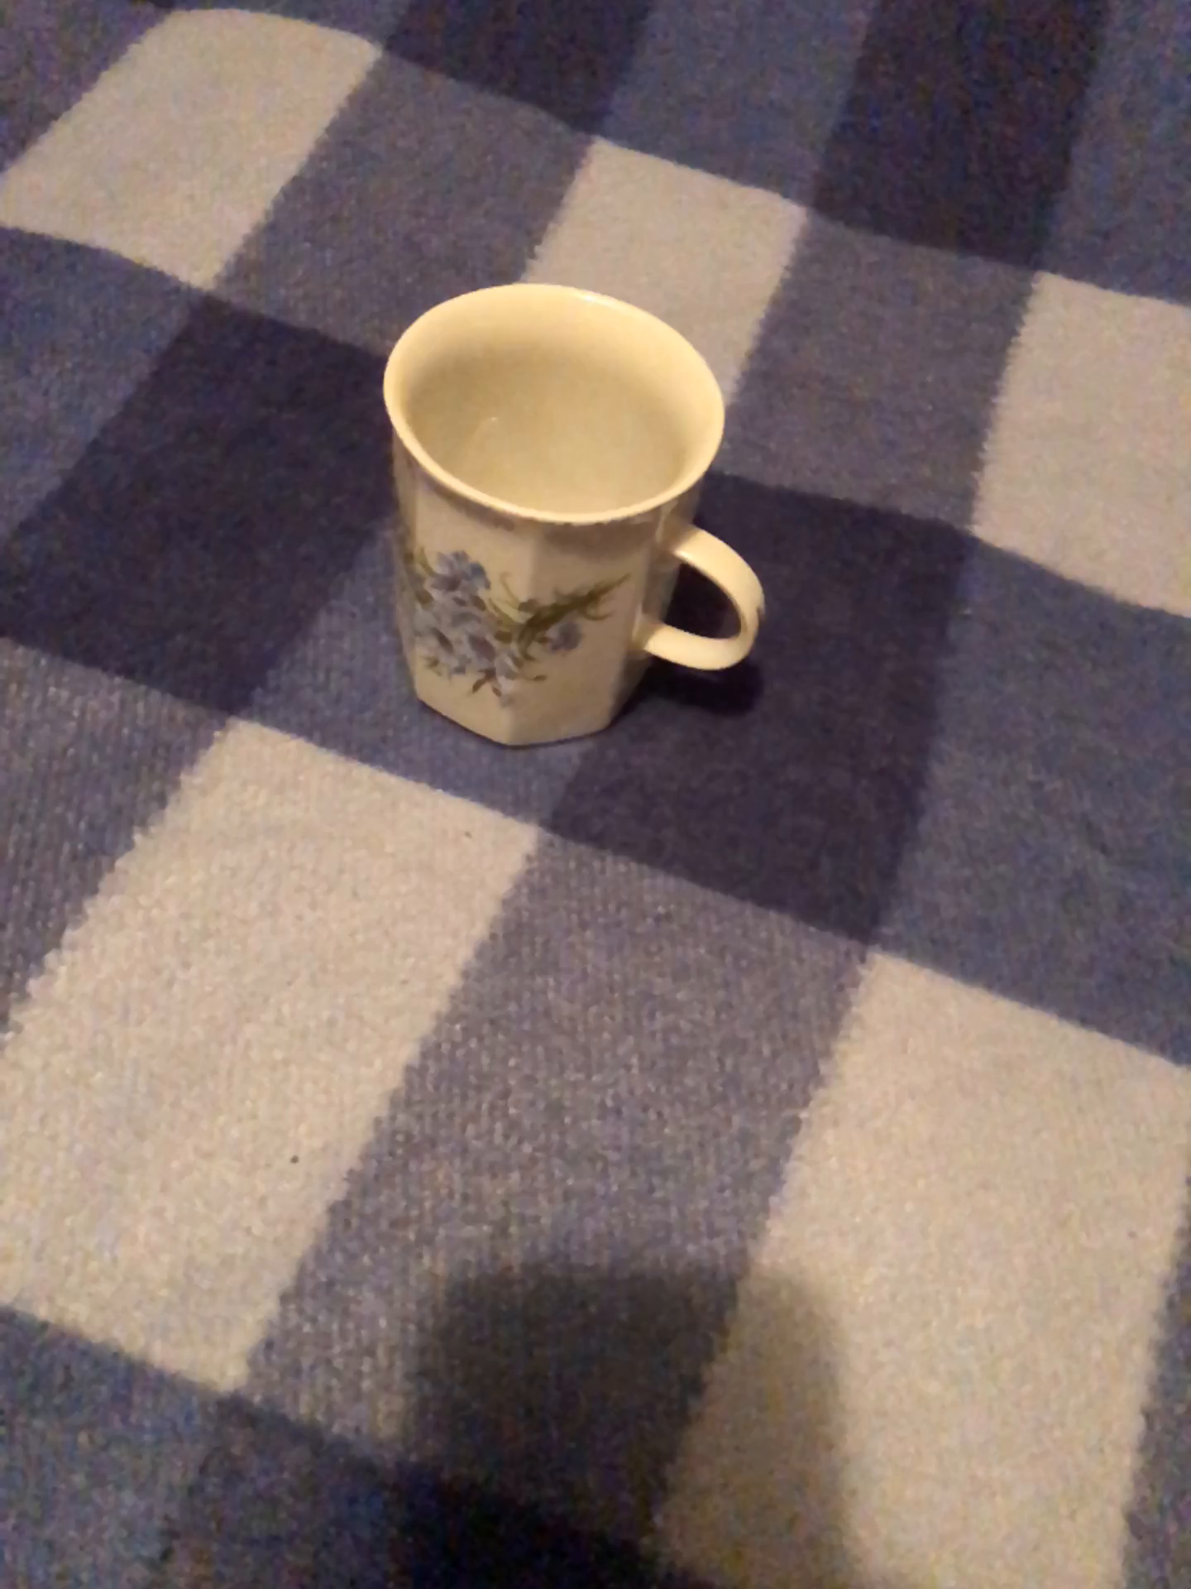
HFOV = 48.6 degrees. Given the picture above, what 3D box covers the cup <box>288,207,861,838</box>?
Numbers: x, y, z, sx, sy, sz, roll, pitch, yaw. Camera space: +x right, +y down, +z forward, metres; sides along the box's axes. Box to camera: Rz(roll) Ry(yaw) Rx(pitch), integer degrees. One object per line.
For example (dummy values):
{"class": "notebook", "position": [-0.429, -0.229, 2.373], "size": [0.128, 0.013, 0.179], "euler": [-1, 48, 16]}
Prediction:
{"class": "cup", "position": [-0.007, -0.065, 0.326], "size": [0.098, 0.094, 0.077], "euler": [31, 61, 13]}
